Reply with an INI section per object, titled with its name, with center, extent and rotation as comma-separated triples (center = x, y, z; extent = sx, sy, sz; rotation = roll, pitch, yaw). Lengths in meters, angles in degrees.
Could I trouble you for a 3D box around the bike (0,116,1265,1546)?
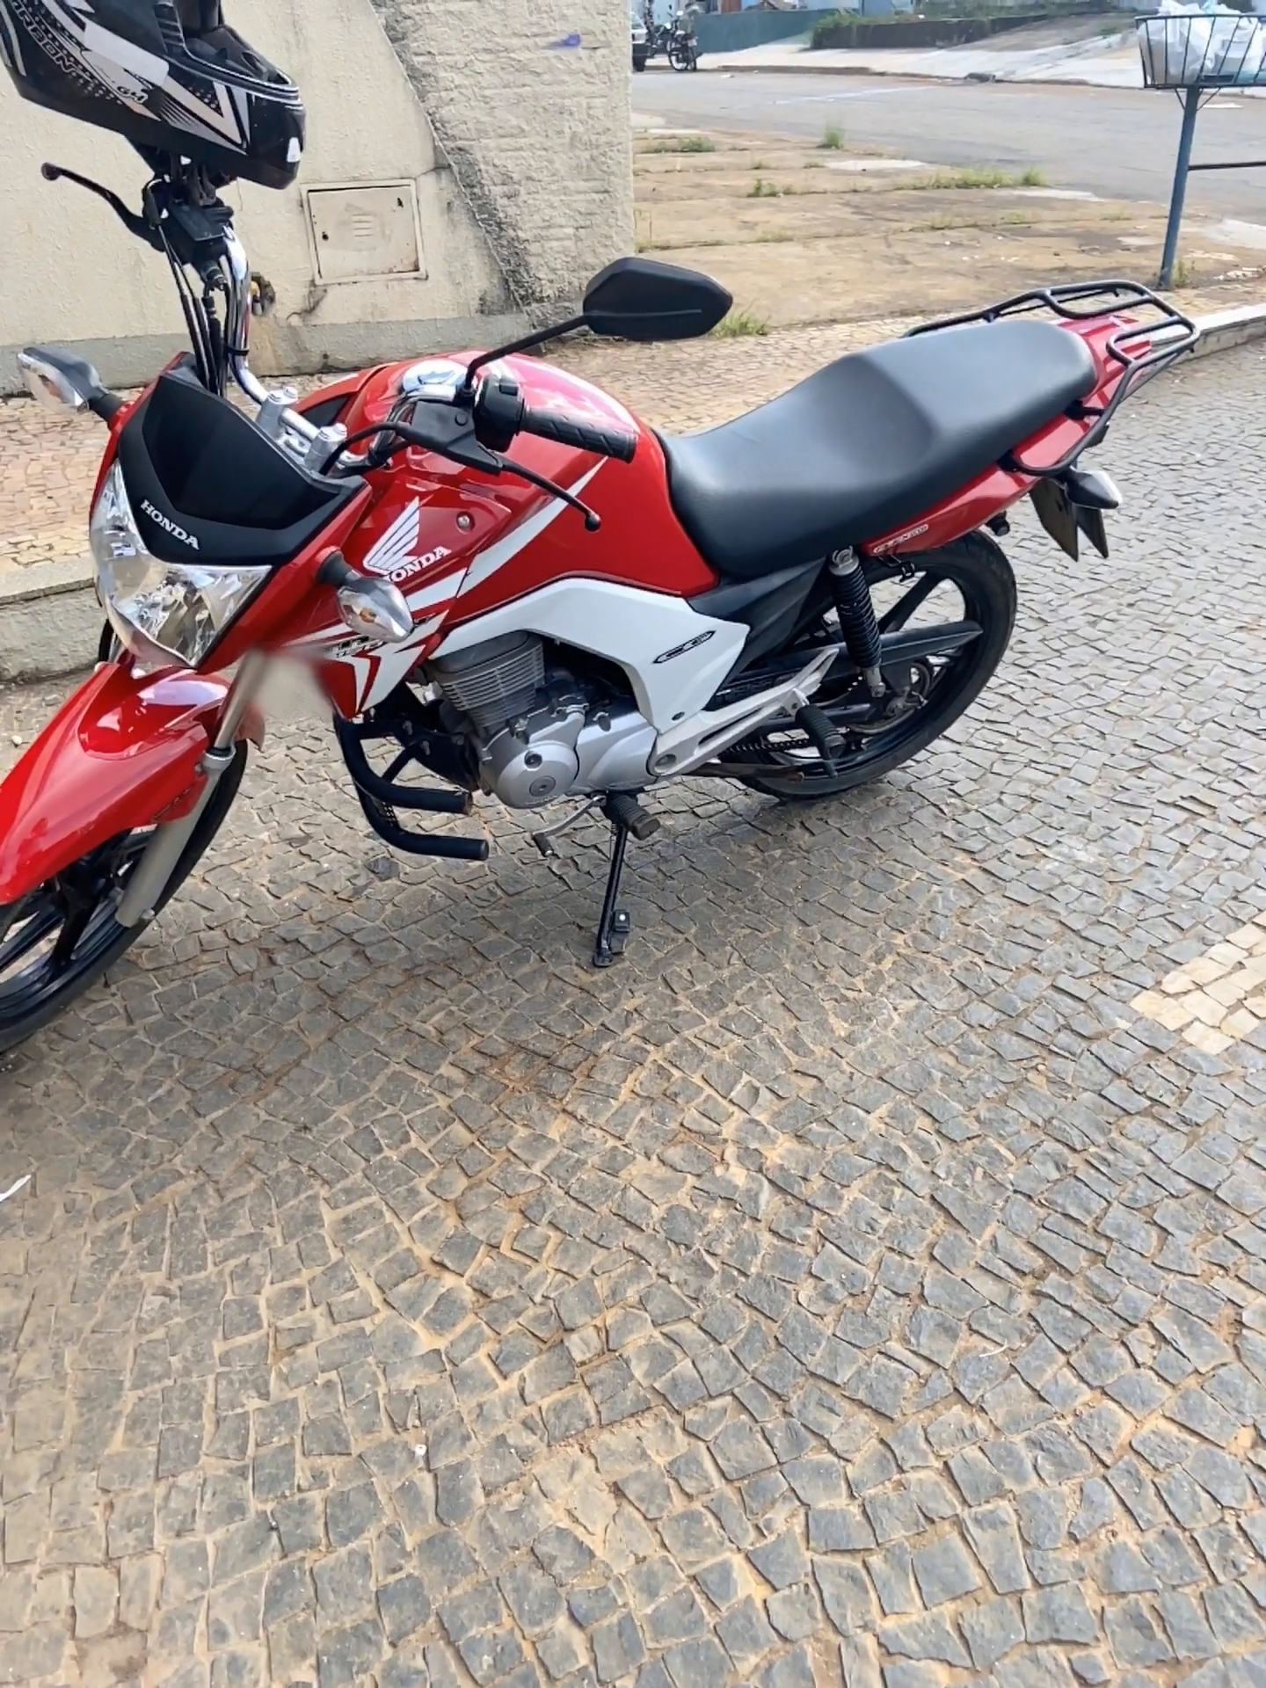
[bike]
center = -0.015, -0.282, 1.982
extent = 2.076, 1.382, 0.812
rotation = -23, 36, -31
